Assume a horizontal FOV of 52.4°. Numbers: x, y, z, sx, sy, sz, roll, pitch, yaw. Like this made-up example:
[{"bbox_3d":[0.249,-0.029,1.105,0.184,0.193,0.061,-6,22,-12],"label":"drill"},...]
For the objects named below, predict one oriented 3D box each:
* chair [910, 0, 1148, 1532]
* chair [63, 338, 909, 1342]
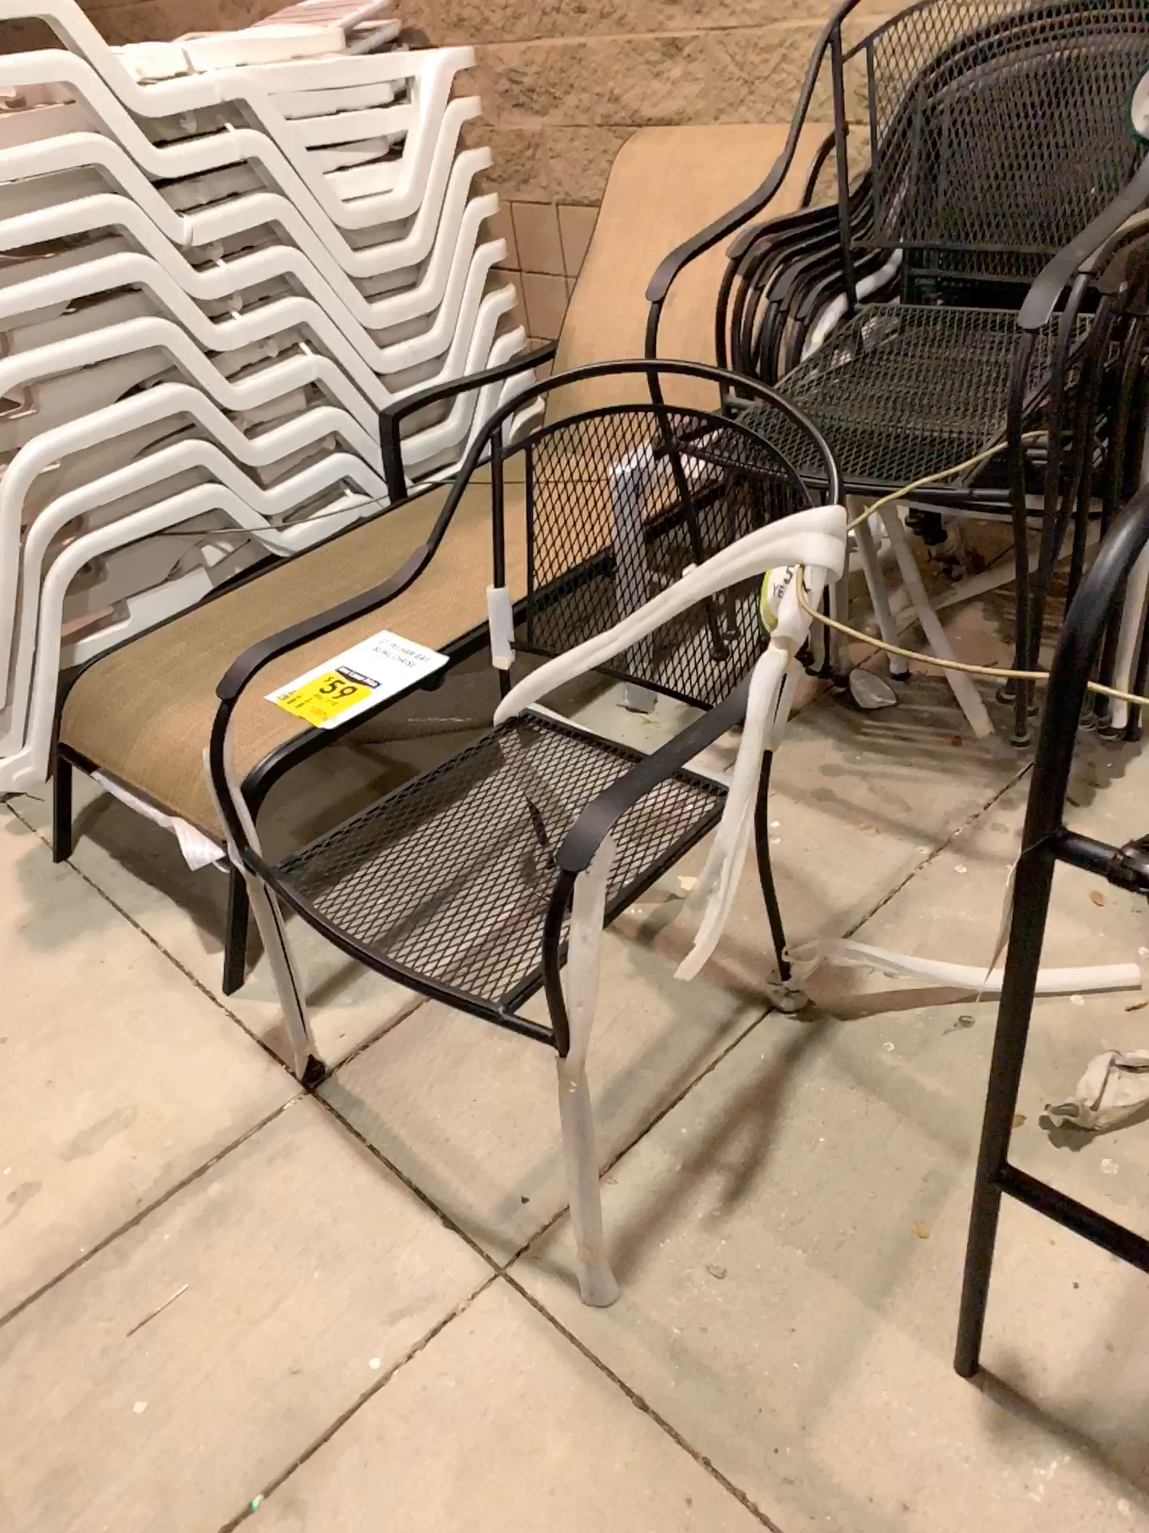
[{"bbox_3d":[0.765,0.116,0.913,0.637,1.128,0.709,25,46,39],"label":"chair"},{"bbox_3d":[-0.034,0.041,1.415,0.576,0.869,0.639,22,44,36],"label":"chair"}]
